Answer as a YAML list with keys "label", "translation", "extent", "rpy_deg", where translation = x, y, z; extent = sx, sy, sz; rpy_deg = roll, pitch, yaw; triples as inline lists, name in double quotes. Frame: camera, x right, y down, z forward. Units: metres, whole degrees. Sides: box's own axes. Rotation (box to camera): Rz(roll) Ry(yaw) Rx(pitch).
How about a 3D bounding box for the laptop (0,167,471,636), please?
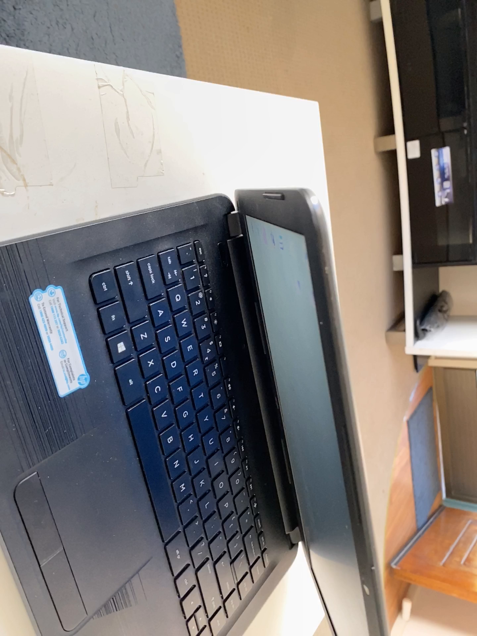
- label: "laptop"
  translation: [0.021, 0.104, 0.298]
  extent: [0.226, 0.154, 0.336]
  rpy_deg: [-29, 112, -50]
